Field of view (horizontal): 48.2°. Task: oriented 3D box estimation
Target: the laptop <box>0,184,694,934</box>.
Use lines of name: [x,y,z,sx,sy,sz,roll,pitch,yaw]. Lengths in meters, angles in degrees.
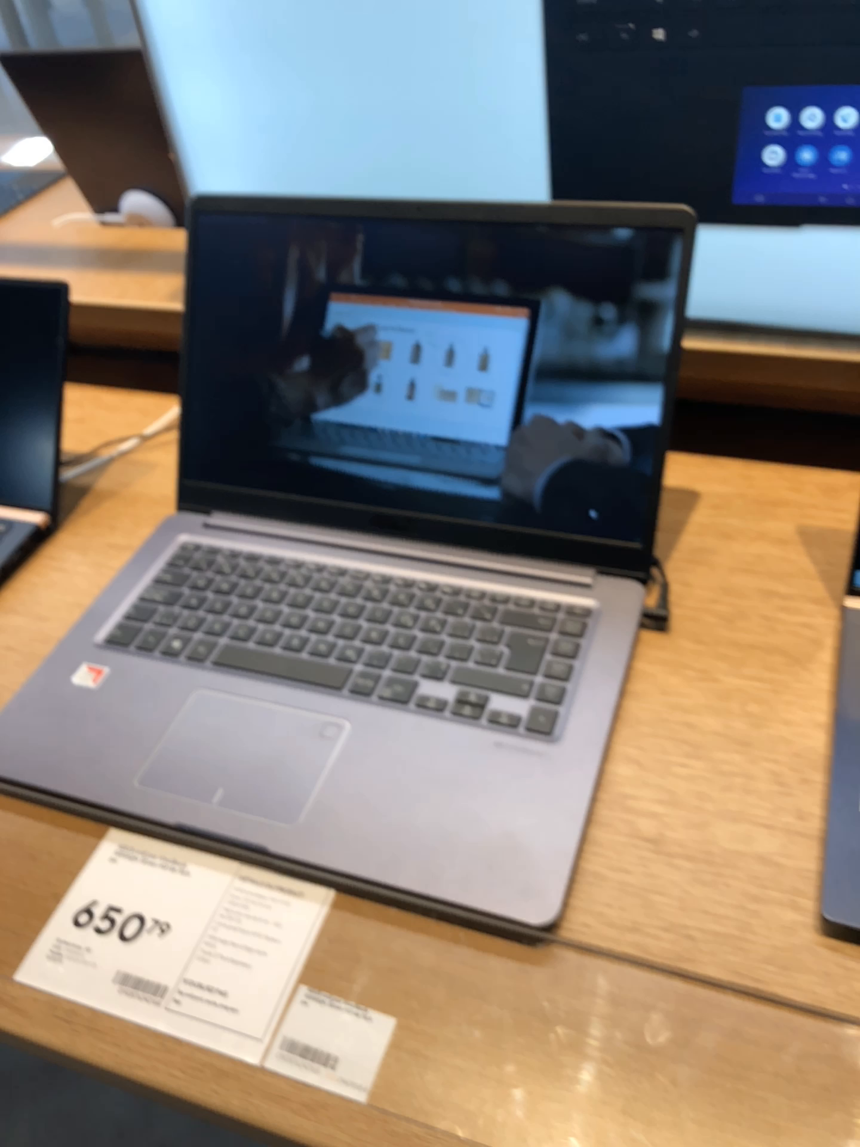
laptop: [-0.058,-0.058,0.572,0.353,0.177,0.391,9,46,19]
